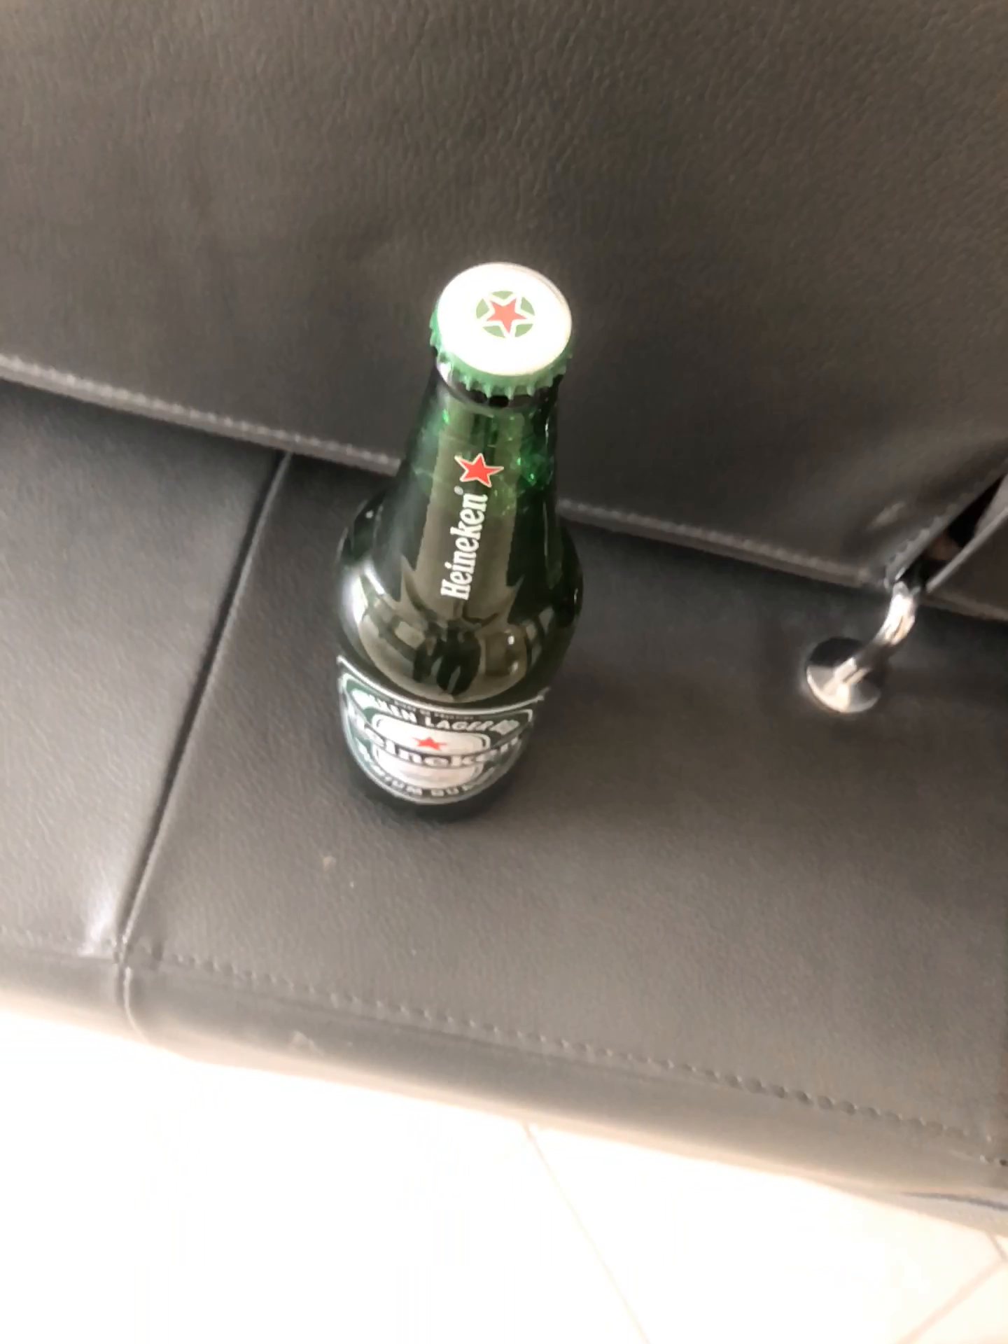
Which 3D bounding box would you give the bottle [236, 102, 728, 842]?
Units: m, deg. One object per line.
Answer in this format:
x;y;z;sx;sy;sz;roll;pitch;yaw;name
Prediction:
-0.017;-0.023;0.337;0.080;0.269;0.080;2;70;-7;bottle
